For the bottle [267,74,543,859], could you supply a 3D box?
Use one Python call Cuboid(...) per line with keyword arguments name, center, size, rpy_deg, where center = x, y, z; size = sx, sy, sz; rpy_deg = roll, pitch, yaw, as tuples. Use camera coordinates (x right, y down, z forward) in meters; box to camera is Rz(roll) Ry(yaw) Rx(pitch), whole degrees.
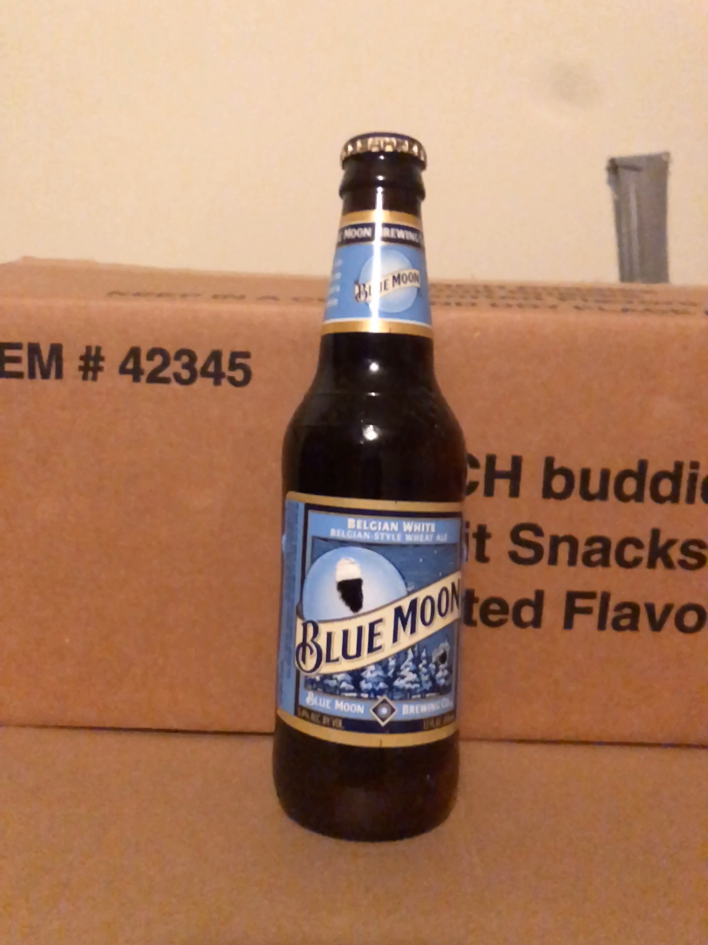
Cuboid(name="bottle", center=(0.010, 0.001, 0.245), size=(0.070, 0.210, 0.060), rpy_deg=(1, 6, -5))
